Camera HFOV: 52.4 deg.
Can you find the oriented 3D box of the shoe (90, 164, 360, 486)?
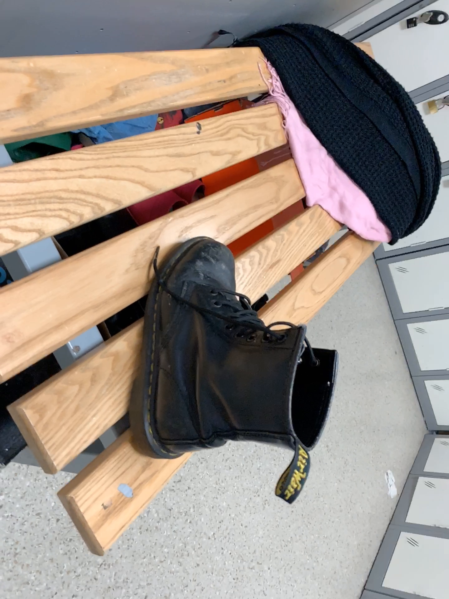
[{"bbox_3d":[0.009,0.028,0.461,0.107,0.199,0.262,37,55,-38],"label":"shoe"}]
